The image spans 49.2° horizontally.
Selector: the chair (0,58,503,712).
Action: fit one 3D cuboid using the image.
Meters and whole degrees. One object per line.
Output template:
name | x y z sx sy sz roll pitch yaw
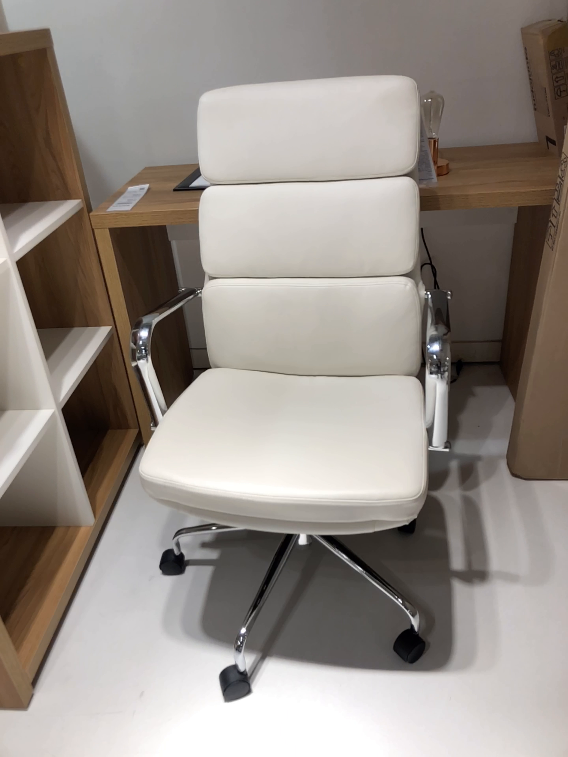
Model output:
chair | -0.009 -0.003 1.226 0.640 1.032 0.685 0 31 9
